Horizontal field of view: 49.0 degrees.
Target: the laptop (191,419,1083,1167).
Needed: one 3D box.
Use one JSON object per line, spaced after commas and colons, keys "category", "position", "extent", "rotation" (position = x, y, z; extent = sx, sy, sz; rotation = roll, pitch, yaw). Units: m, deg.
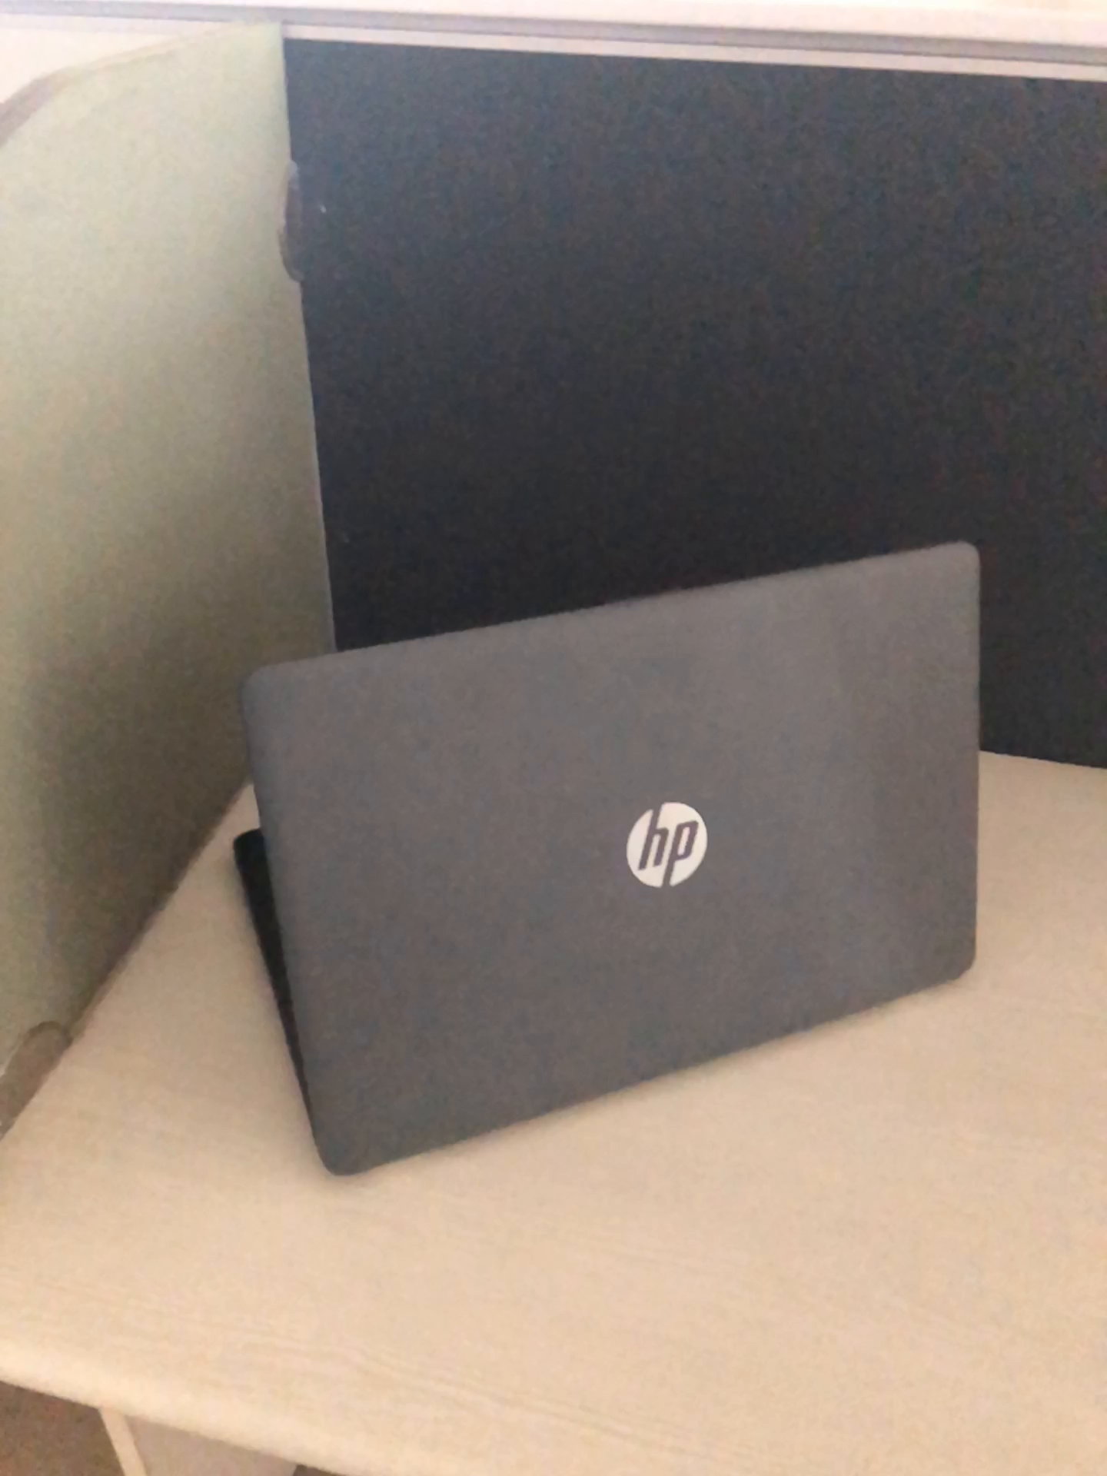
{"category": "laptop", "position": [0.025, 0.005, 0.643], "extent": [0.360, 0.215, 0.239], "rotation": [-12, 39, -17]}
